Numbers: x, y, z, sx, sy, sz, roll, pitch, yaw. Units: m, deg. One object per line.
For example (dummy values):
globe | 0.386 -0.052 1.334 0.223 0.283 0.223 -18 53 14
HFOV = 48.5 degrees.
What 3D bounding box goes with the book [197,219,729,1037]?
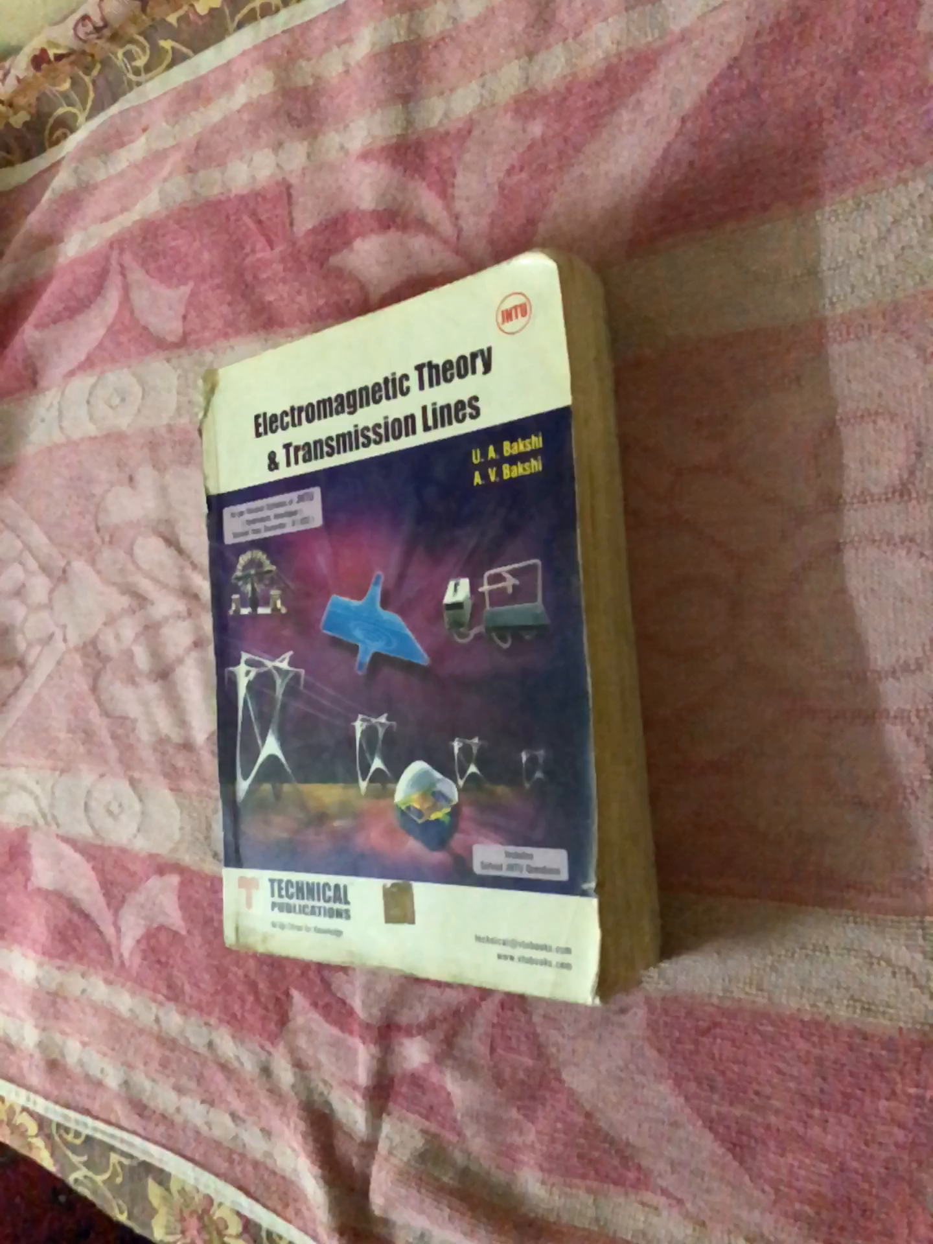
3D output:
book | -0.014 0.008 0.401 0.201 0.060 0.250 -6 84 38
